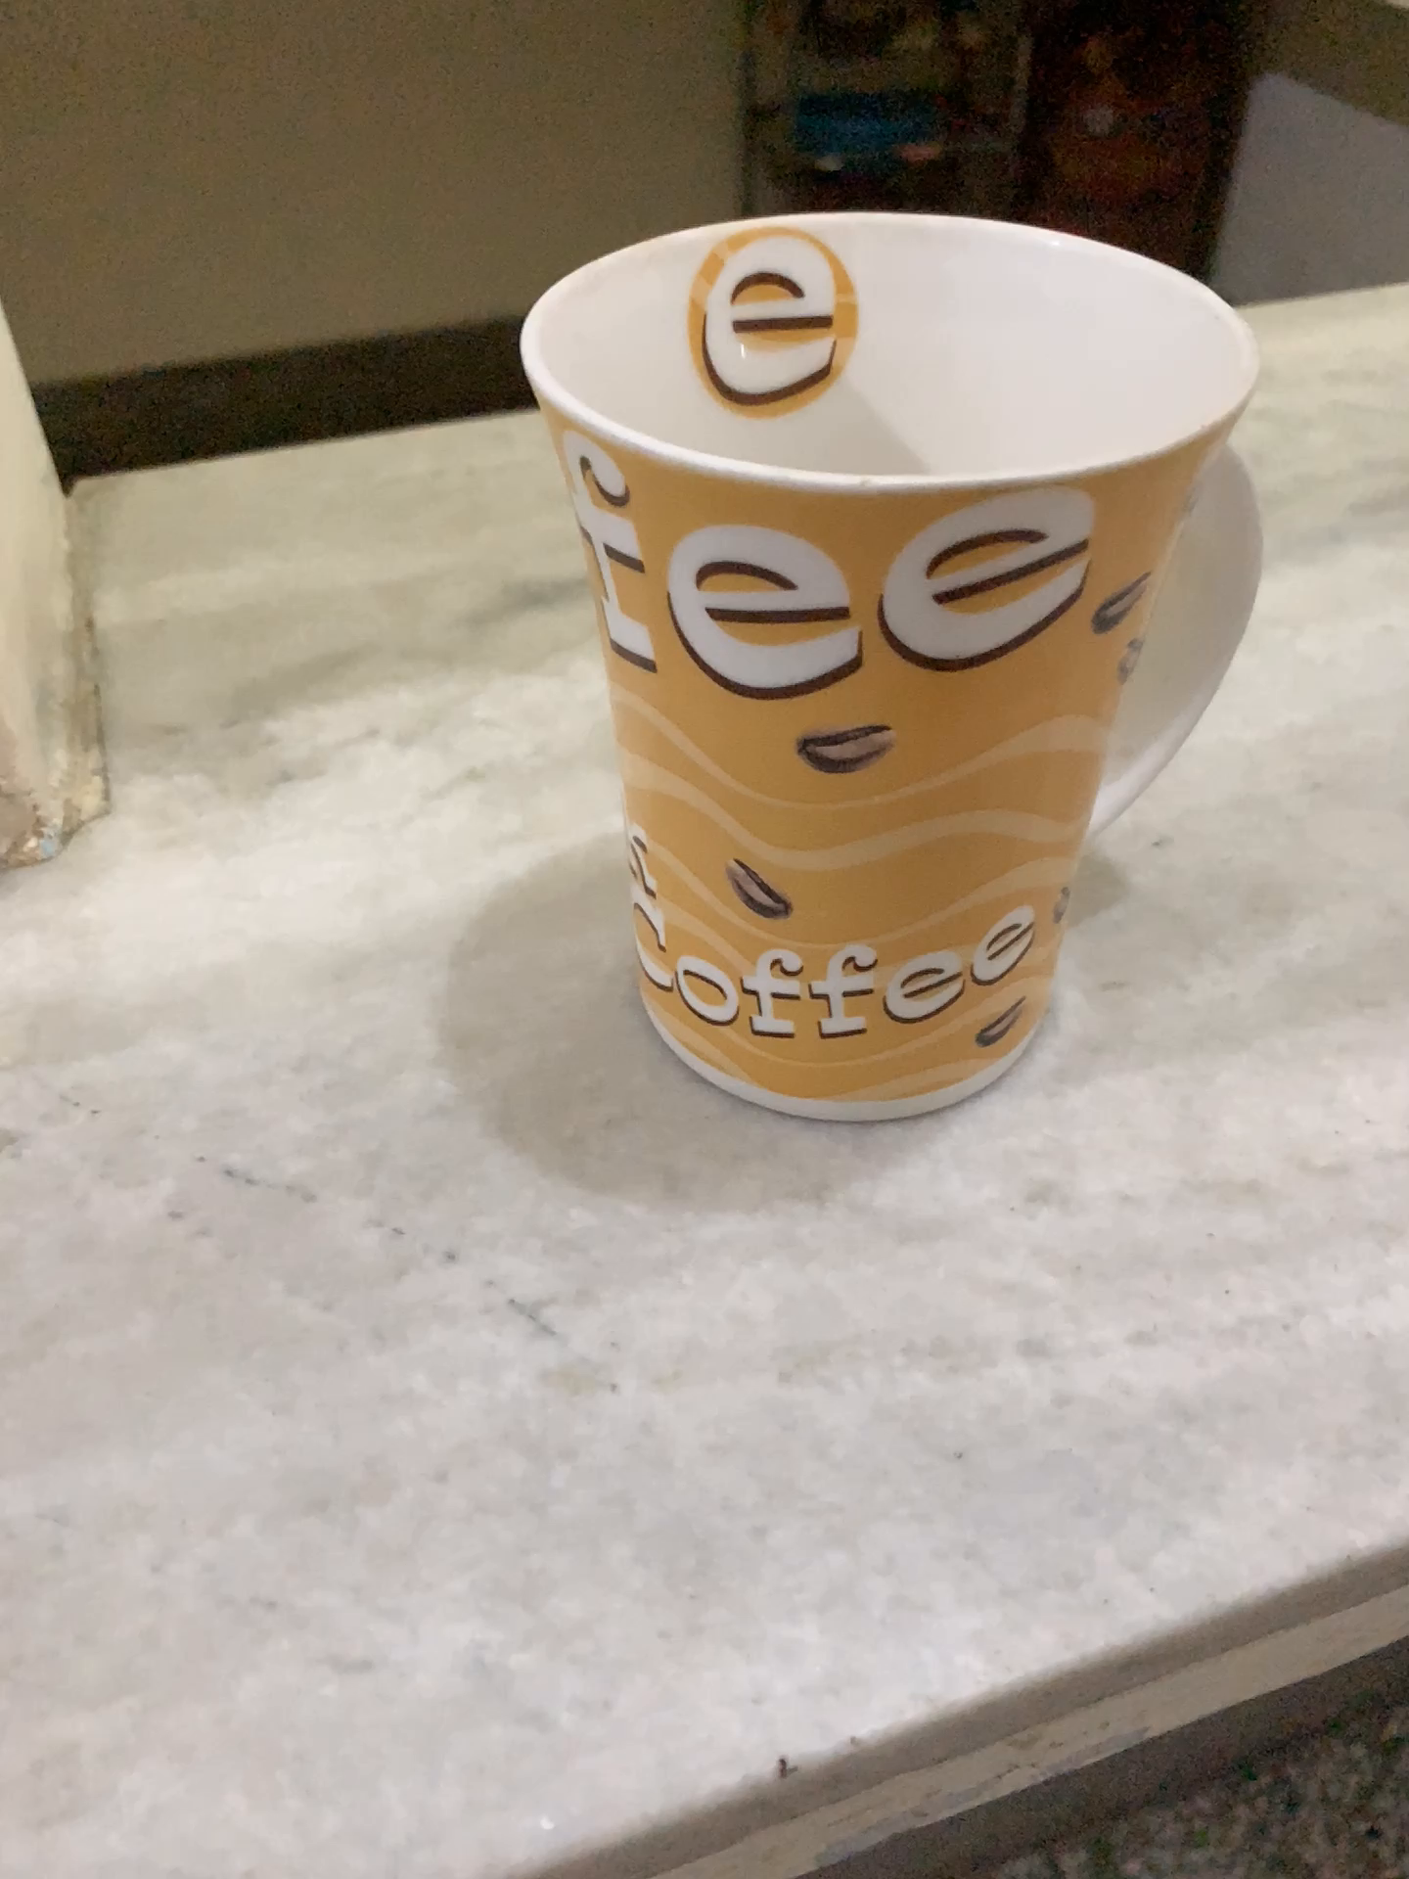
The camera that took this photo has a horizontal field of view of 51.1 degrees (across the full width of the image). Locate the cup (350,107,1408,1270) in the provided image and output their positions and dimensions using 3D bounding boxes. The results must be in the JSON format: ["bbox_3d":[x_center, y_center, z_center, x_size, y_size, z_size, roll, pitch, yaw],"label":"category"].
[{"bbox_3d":[0.024,-0.036,0.190,0.100,0.100,0.080,-20,45,-20],"label":"cup"}]
